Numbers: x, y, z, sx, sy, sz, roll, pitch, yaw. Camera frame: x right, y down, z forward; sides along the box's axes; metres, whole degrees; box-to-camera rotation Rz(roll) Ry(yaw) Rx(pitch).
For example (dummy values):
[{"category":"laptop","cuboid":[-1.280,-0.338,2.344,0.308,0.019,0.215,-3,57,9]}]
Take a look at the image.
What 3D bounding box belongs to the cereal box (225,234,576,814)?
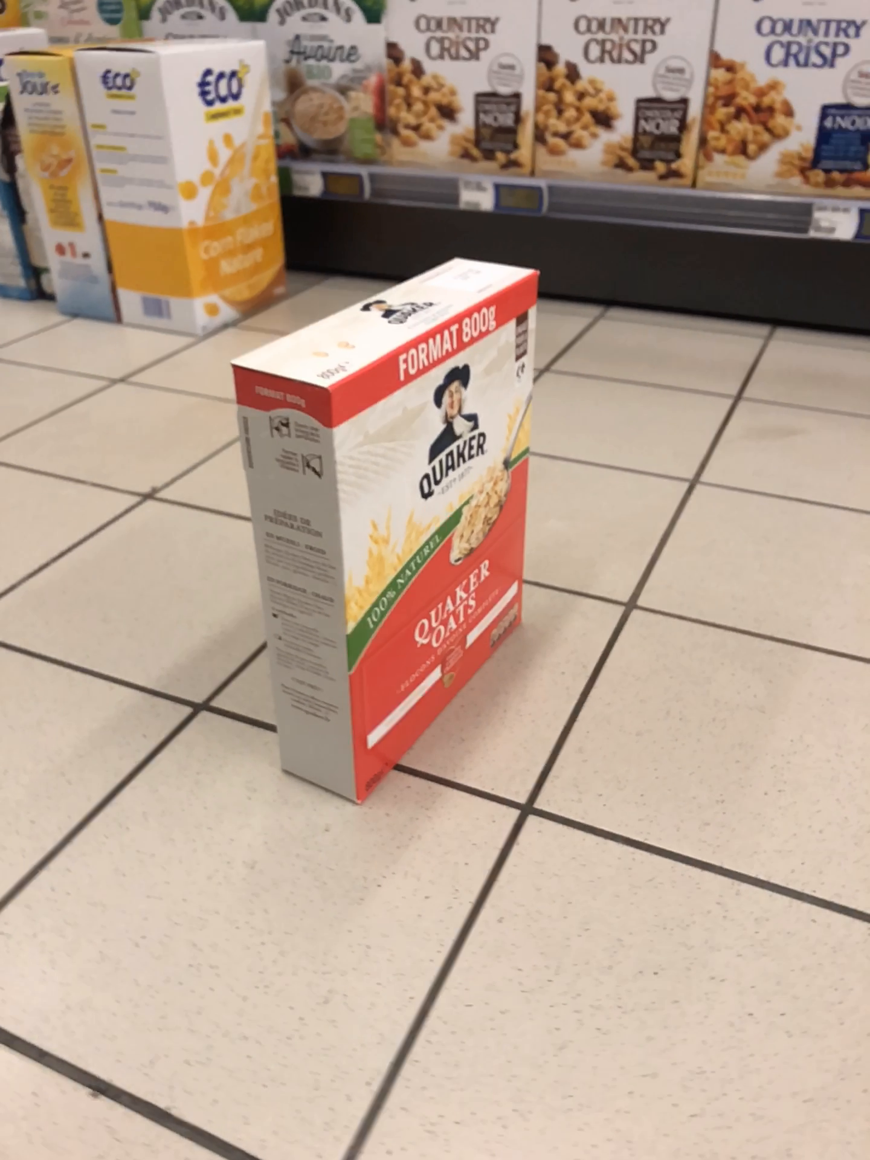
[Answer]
[{"category":"cereal box","cuboid":[-0.004,-0.039,0.503,0.060,0.229,0.211,17,35,25]}]
